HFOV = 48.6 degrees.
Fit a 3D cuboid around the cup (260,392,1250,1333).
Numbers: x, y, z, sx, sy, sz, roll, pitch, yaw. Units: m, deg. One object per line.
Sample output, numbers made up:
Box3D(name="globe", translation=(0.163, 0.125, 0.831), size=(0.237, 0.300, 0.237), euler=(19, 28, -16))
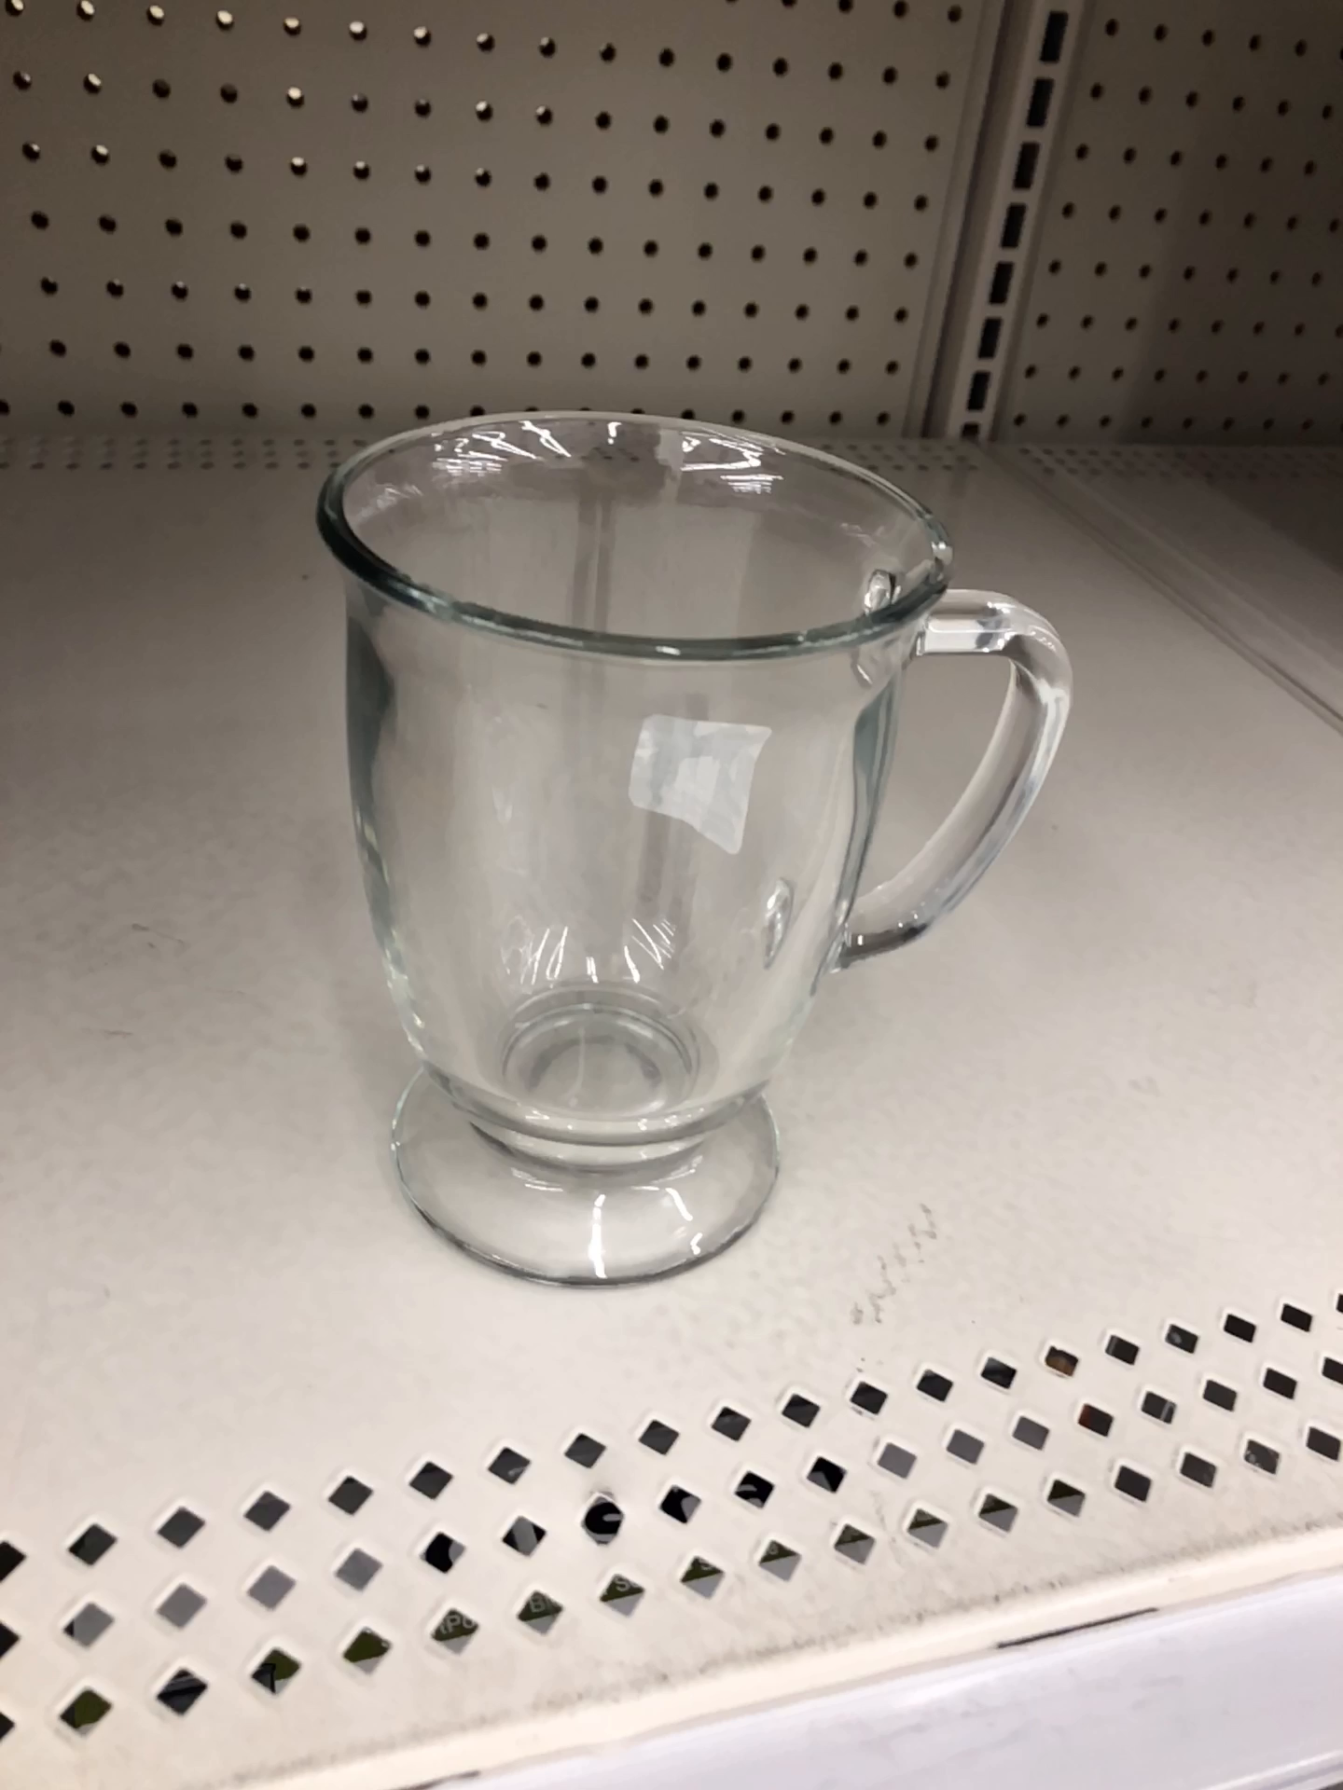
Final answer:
Box3D(name="cup", translation=(0.000, -0.014, 0.282), size=(0.138, 0.128, 0.110), euler=(-5, 35, -15))
